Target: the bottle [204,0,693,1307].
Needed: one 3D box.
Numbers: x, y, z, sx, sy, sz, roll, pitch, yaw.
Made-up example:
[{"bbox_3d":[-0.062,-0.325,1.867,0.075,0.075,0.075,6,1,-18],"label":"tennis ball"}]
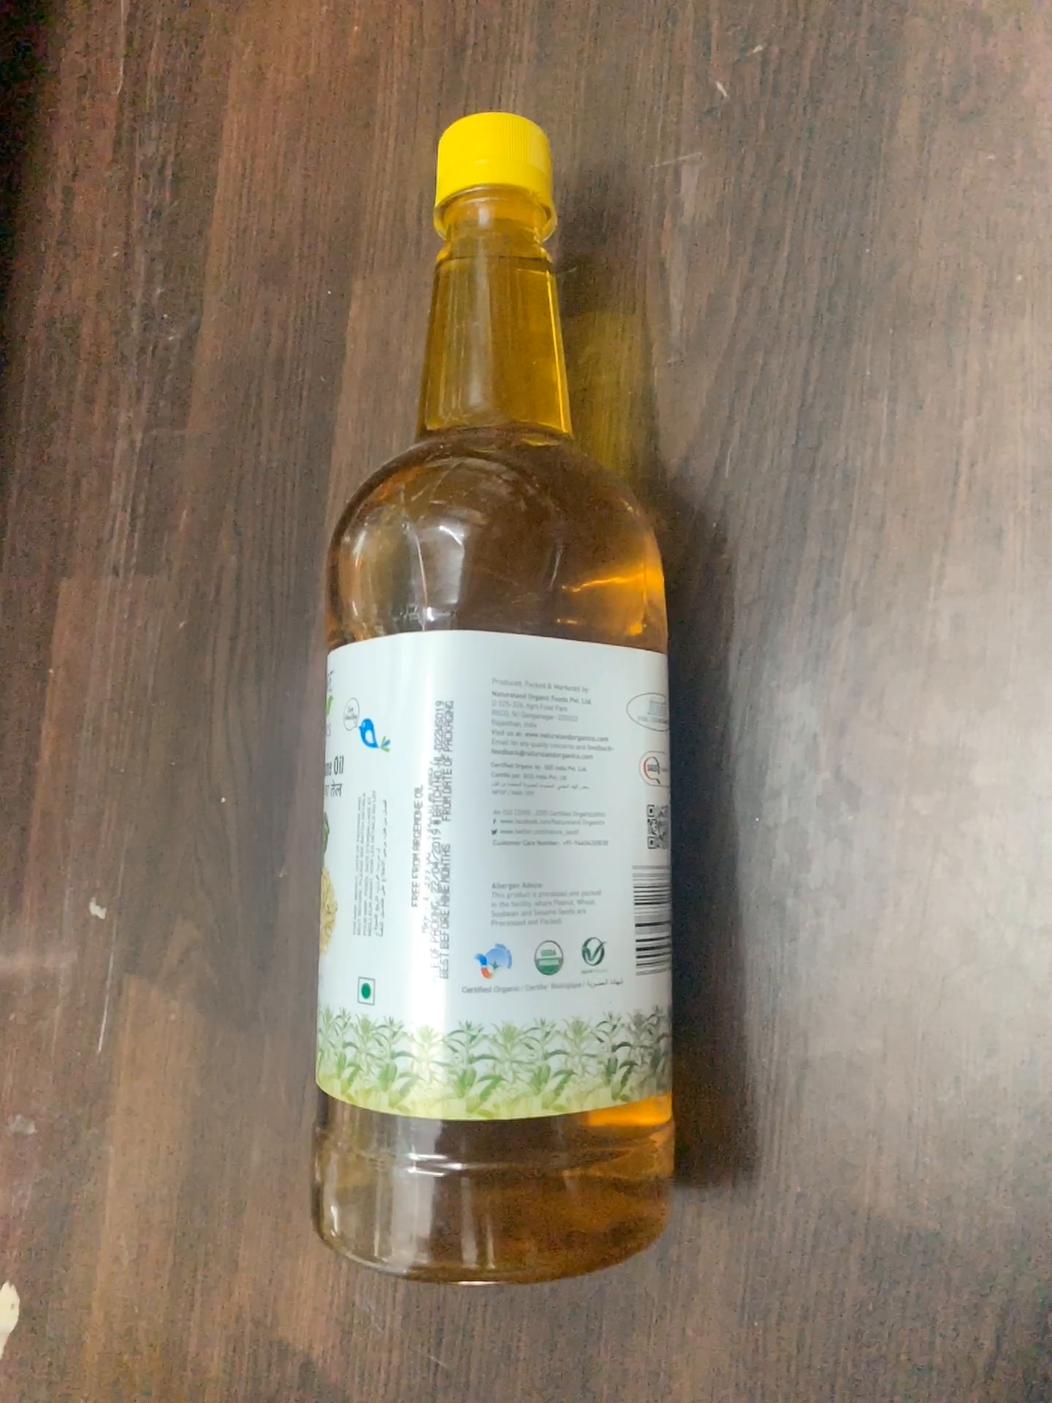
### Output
[{"bbox_3d":[-0.015,-0.013,0.264,0.080,0.090,0.270,127,145,-82],"label":"bottle"}]
